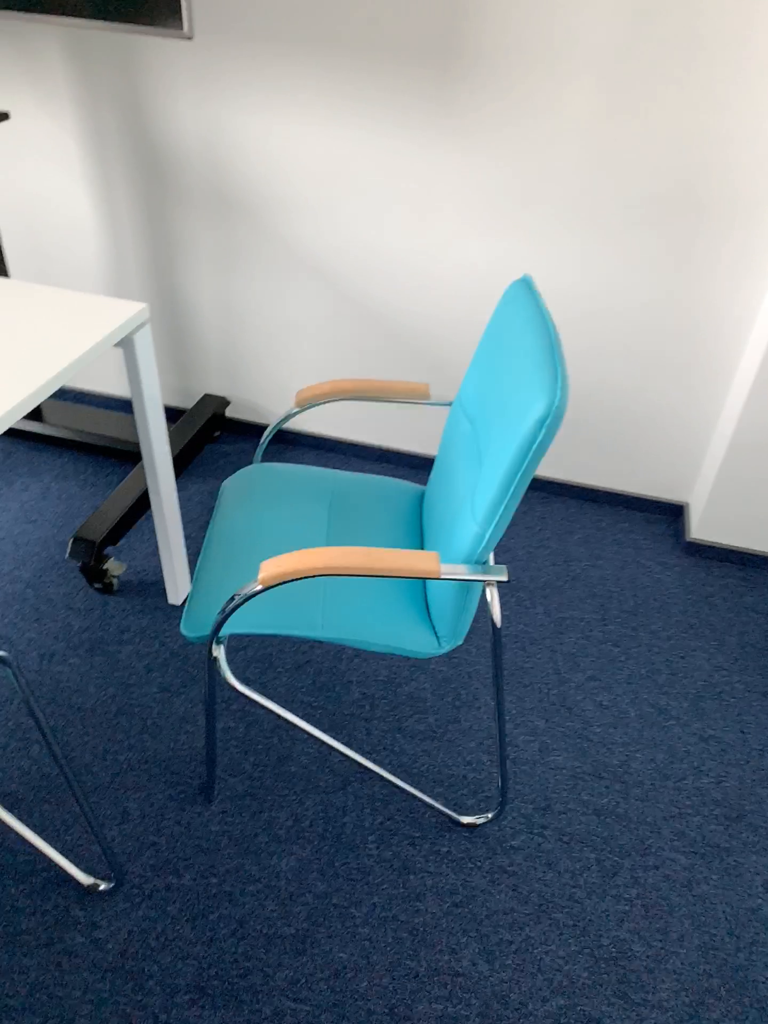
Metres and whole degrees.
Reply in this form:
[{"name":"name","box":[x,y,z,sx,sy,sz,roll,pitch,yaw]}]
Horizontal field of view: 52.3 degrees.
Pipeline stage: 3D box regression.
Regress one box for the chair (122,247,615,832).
[{"name":"chair","box":[-0.036,0.059,1.454,0.600,0.845,0.624,4,38,-1]}]
